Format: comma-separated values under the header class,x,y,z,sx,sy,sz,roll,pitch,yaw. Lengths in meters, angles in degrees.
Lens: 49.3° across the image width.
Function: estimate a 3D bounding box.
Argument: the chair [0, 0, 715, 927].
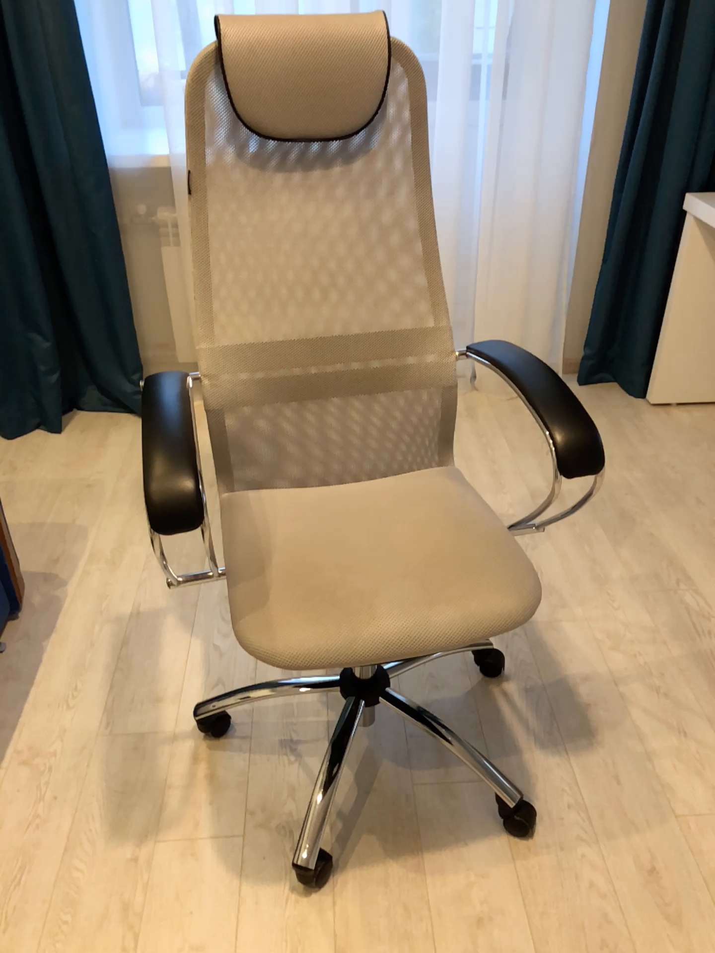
class,x,y,z,sx,sy,sz,roll,pitch,yaw
chair,-0.007,-0.035,1.191,0.680,1.152,0.695,-5,30,-4
